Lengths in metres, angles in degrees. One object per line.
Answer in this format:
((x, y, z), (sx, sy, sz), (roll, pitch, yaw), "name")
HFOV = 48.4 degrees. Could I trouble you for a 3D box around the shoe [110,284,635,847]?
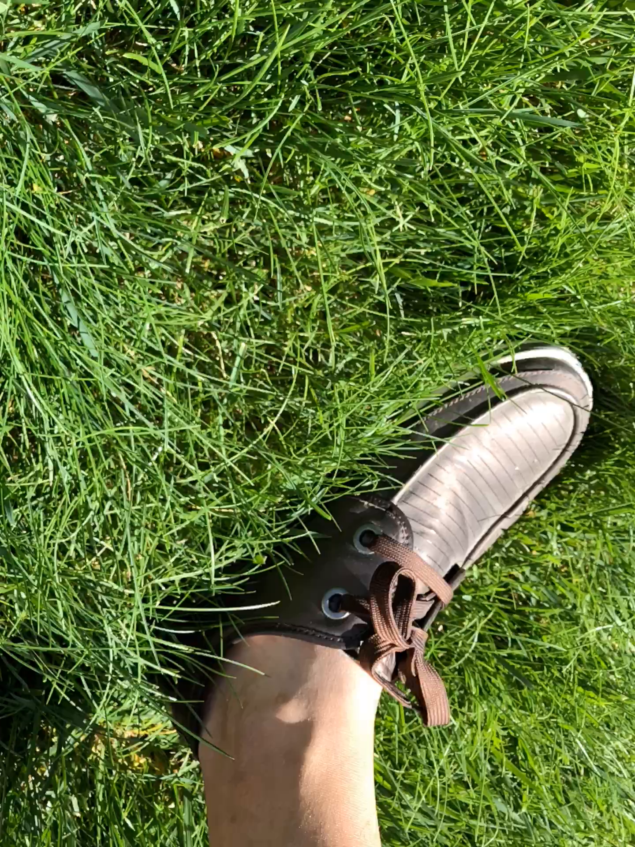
((0.045, 0.074, 0.365), (0.293, 0.107, 0.110), (-41, 112, 2), "shoe")
